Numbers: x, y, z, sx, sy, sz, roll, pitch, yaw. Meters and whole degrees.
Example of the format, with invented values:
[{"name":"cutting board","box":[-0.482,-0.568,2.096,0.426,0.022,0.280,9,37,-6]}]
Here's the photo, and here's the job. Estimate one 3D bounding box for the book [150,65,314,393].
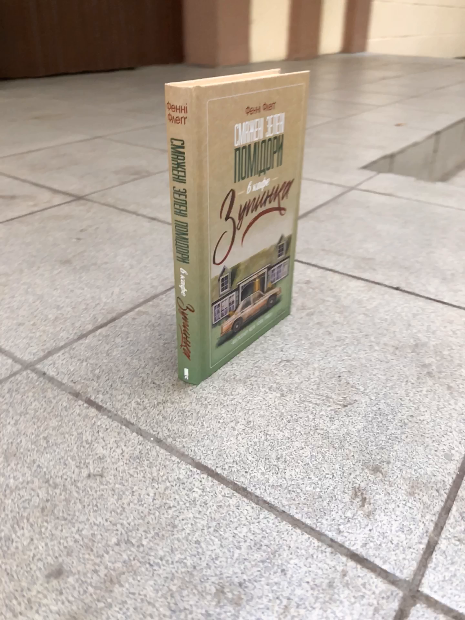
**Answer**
[{"name":"book","box":[0.006,-0.063,0.384,0.030,0.209,0.141,19,34,31]}]
